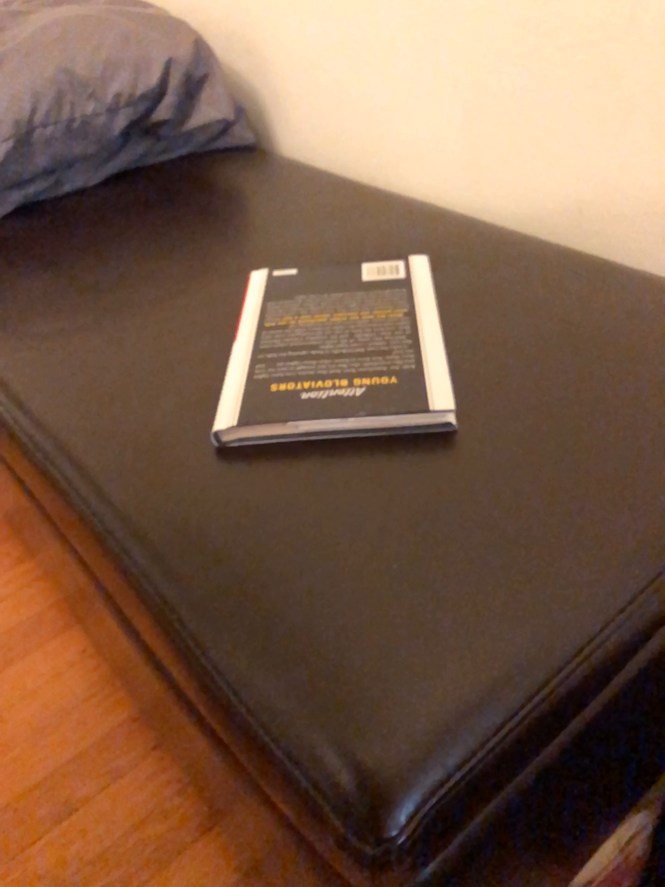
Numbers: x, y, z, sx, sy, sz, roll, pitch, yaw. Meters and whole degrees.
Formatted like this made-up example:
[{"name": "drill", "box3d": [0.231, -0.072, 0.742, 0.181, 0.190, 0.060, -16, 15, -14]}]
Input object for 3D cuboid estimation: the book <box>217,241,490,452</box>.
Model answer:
[{"name": "book", "box3d": [0.014, -0.080, 0.529, 0.160, 0.020, 0.231, -4, 38, 4]}]
